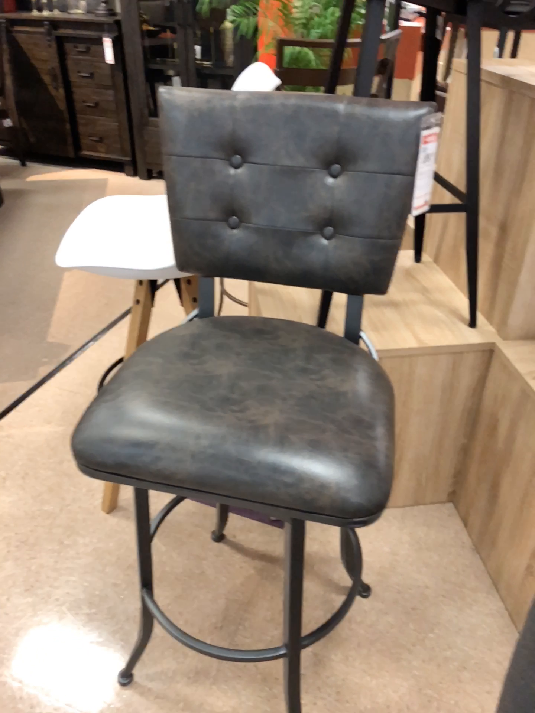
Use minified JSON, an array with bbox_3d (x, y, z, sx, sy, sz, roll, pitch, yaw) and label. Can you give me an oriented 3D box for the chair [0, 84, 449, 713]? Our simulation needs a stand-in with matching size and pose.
[{"bbox_3d":[-0.031,0.160,1.056,0.518,1.108,0.514,8,34,14],"label":"chair"}]
